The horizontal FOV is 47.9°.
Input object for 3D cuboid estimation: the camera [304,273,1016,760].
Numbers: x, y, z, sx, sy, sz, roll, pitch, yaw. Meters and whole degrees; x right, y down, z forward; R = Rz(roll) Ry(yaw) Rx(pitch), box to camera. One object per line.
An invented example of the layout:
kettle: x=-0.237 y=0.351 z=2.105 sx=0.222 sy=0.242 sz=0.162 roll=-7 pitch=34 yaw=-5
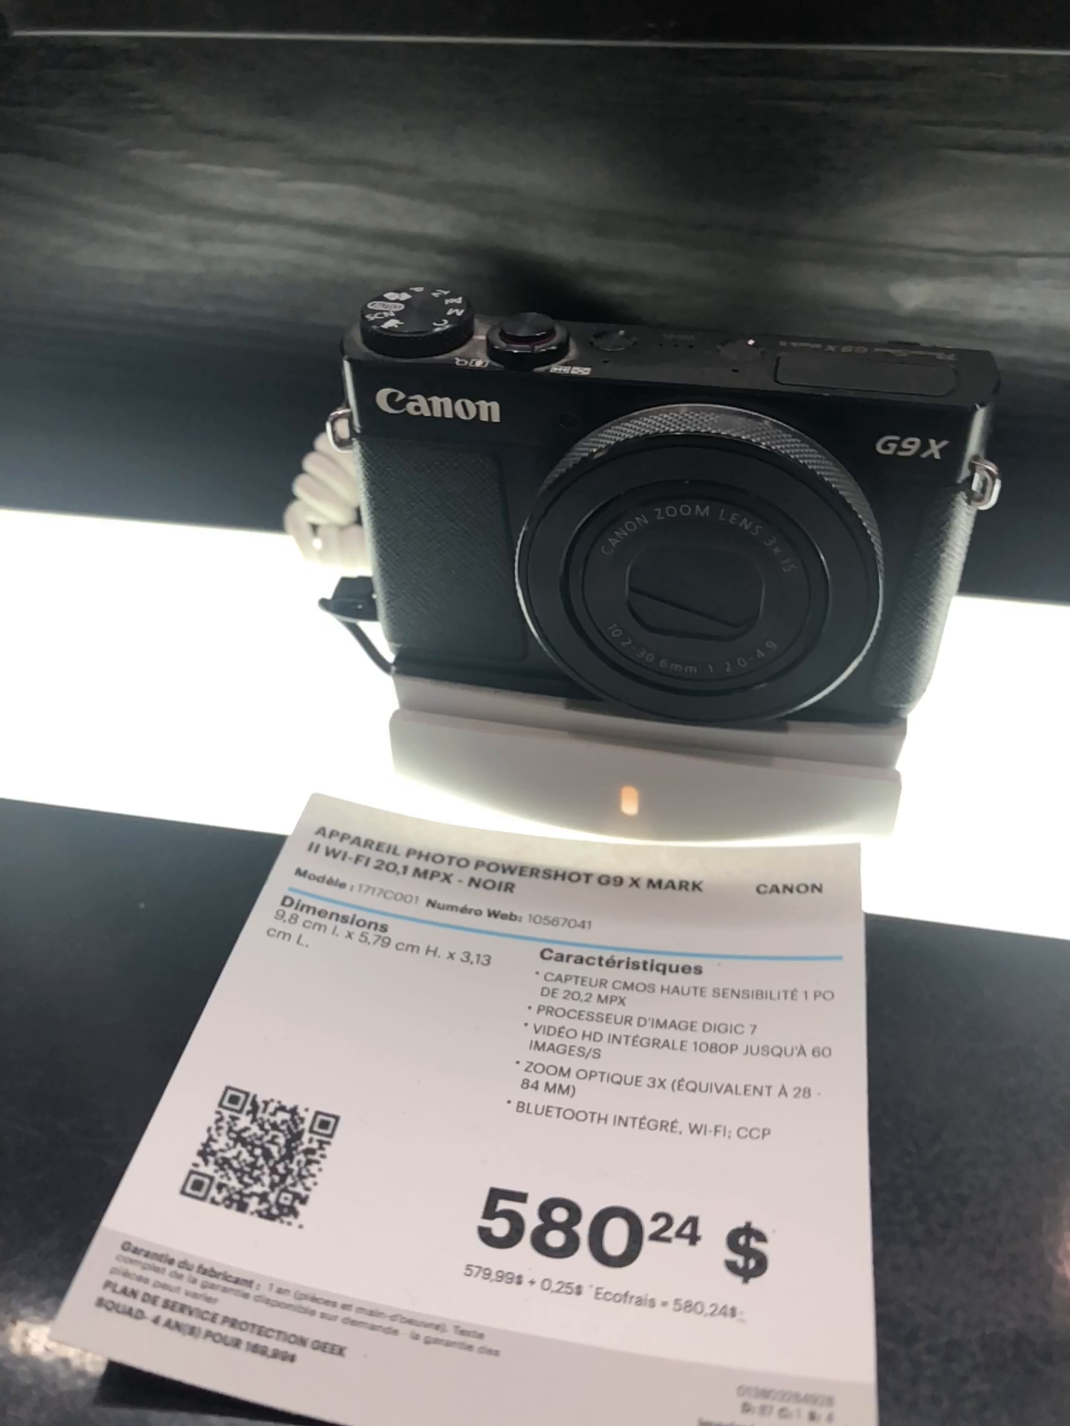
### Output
camera: x=0.017 y=-0.030 z=0.183 sx=0.092 sy=0.060 sz=0.026 roll=7 pitch=40 yaw=11
